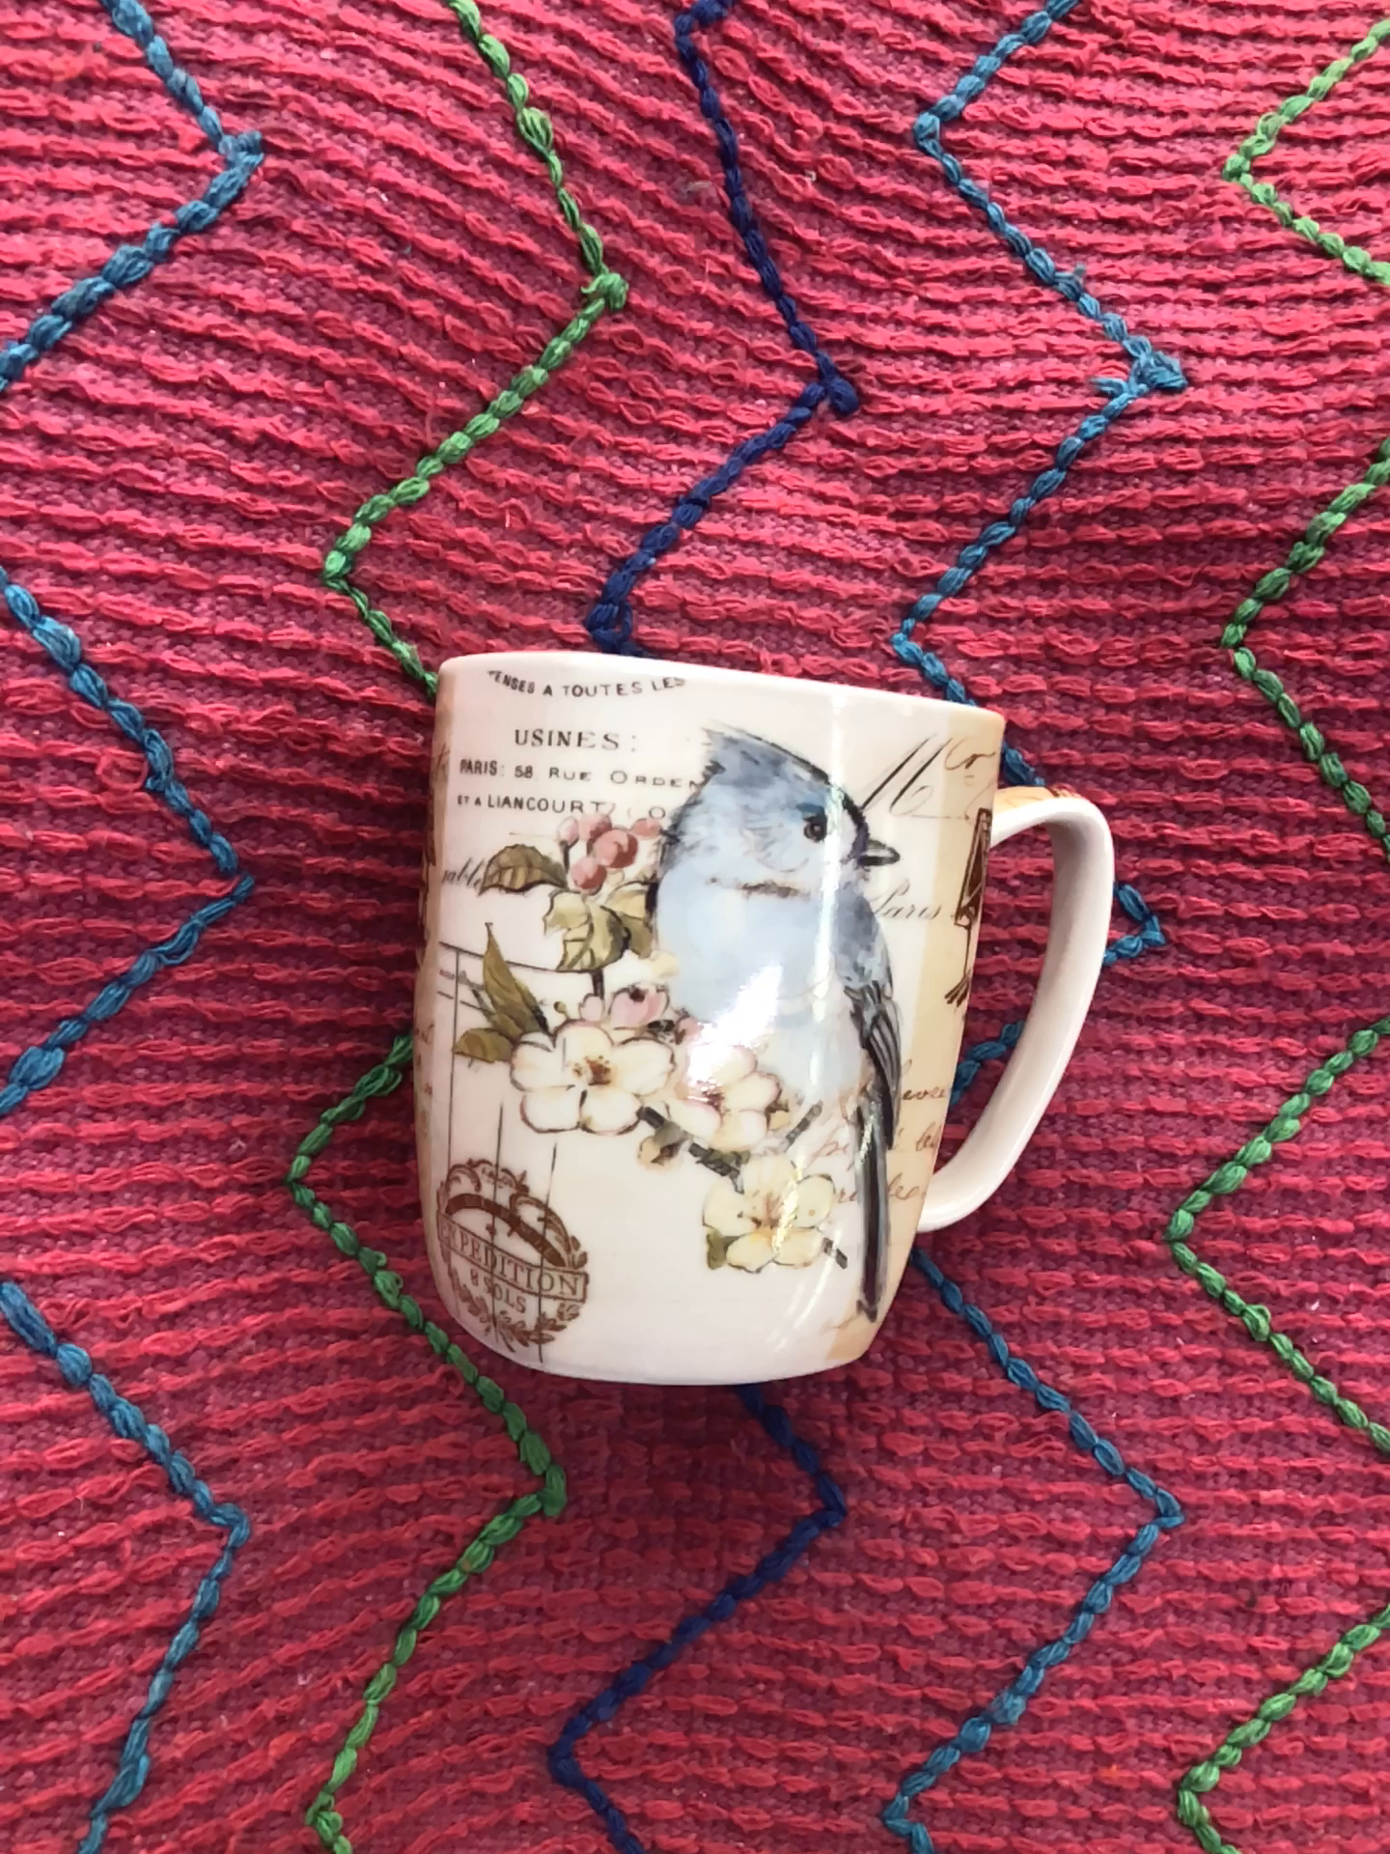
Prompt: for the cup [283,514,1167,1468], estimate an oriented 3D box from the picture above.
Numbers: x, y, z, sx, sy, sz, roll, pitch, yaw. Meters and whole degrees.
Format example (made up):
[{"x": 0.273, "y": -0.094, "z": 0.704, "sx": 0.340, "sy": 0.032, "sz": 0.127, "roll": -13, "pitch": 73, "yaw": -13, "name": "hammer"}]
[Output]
[{"x": 0.001, "y": 0.005, "z": 0.233, "sx": 0.110, "sy": 0.070, "sz": 0.110, "roll": -3, "pitch": 96, "yaw": -27, "name": "cup"}]
